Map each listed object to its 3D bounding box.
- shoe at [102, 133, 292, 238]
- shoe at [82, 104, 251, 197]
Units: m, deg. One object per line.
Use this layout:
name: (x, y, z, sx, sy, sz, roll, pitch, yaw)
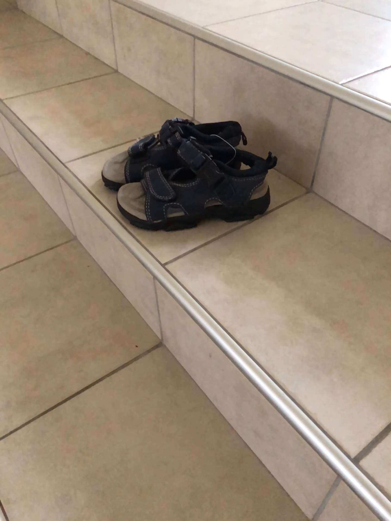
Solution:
shoe: (0.000, -0.104, 0.584, 0.230, 0.090, 0.101, -3, 43, -4)
shoe: (-0.042, -0.169, 0.653, 0.230, 0.090, 0.101, -3, 43, -4)
